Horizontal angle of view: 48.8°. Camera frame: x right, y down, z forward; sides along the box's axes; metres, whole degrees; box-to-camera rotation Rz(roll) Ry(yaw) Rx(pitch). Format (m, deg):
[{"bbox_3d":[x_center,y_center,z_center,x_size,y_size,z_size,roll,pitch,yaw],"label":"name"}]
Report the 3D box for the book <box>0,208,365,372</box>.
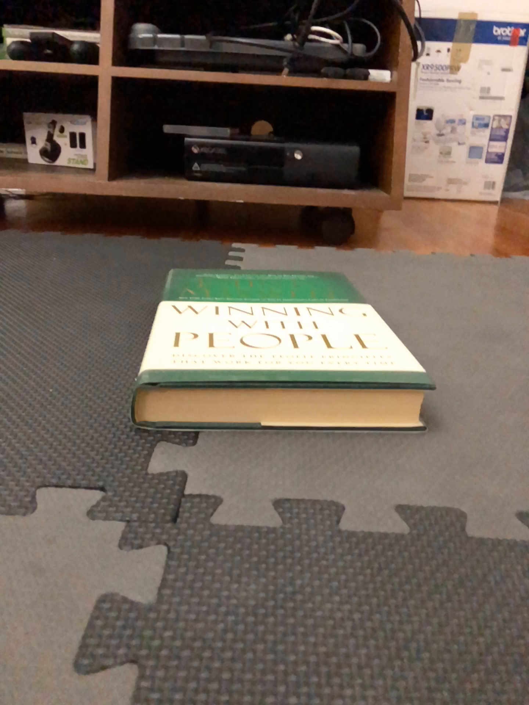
[{"bbox_3d":[-0.062,-0.060,0.392,0.200,0.030,0.291,1,21,-3],"label":"book"}]
